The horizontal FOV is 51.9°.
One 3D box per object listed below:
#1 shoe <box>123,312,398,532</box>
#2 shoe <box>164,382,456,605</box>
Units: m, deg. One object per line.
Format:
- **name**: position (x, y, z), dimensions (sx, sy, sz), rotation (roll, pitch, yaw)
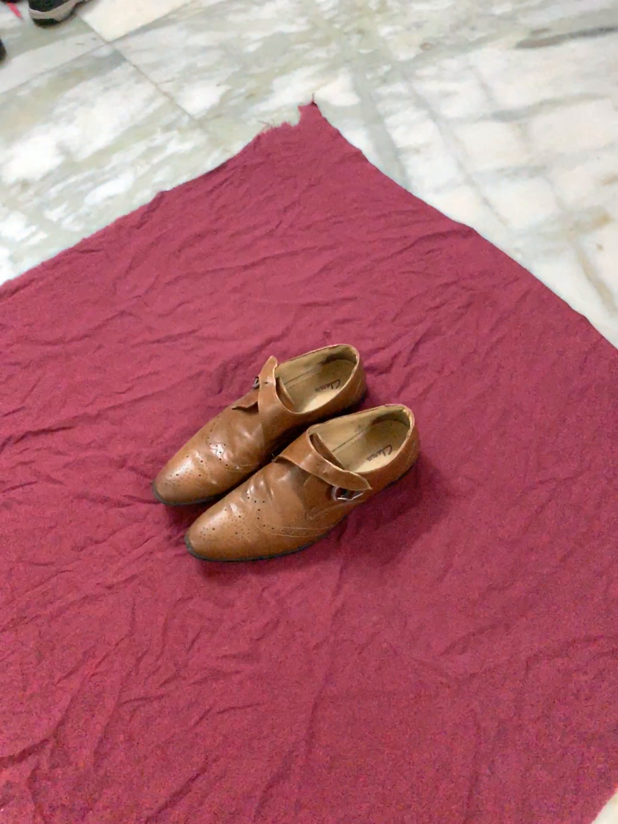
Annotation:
- **shoe**: position (-0.050, 0.009, 0.754), dimensions (0.300, 0.090, 0.100), rotation (-30, 64, -13)
- **shoe**: position (0.005, 0.091, 0.734), dimensions (0.310, 0.090, 0.100), rotation (-26, 63, -12)
